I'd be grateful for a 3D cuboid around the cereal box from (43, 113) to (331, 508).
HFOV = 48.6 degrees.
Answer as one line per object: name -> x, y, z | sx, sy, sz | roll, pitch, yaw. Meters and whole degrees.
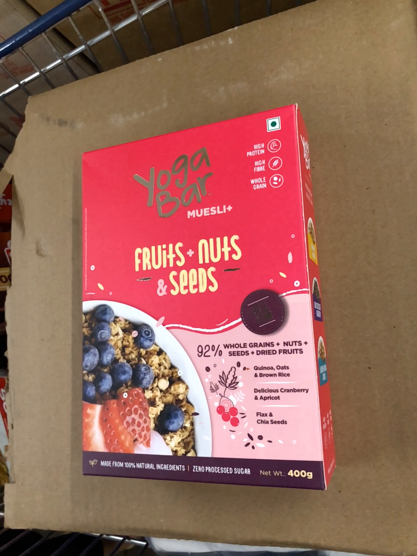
cereal box -> -0.018, 0.022, 0.302 | 0.170, 0.060, 0.210 | -5, 83, 20
